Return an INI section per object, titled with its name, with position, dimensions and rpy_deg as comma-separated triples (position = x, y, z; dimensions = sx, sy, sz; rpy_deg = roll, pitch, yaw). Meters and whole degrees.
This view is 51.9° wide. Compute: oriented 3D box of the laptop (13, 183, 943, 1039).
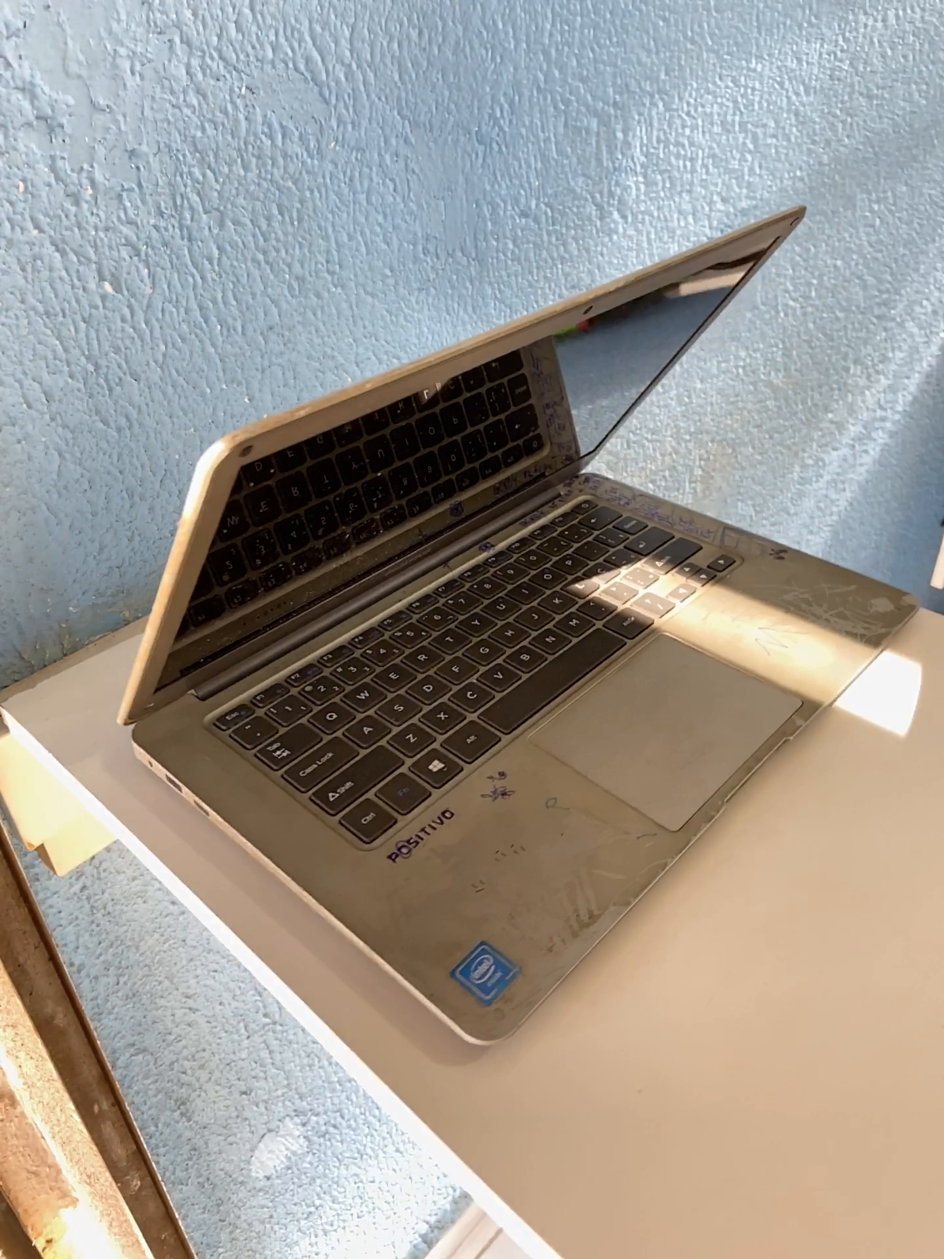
[laptop]
position = 0.038, -0.055, 0.409
dimensions = 0.212, 0.167, 0.328
rpy_deg = 28, 45, 35
